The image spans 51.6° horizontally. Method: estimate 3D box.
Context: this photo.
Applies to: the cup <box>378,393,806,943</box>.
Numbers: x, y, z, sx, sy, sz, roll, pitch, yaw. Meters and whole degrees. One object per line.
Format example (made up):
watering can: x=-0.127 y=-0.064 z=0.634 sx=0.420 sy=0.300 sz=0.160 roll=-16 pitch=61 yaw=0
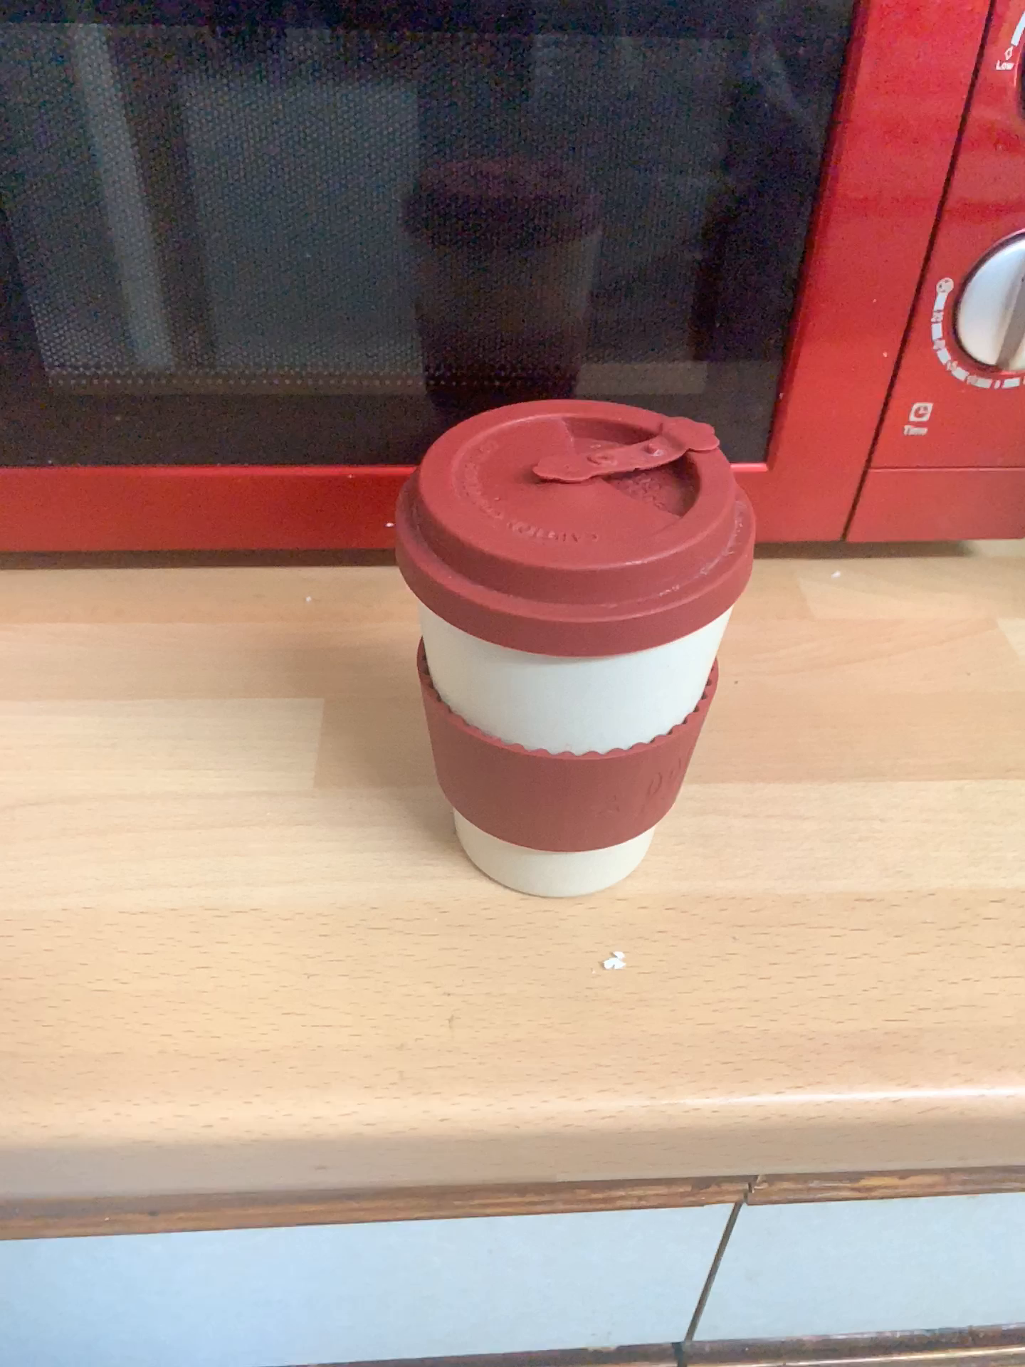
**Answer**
cup: x=0.011 y=-0.004 z=0.285 sx=0.087 sy=0.115 sz=0.087 roll=2 pitch=40 yaw=-1
